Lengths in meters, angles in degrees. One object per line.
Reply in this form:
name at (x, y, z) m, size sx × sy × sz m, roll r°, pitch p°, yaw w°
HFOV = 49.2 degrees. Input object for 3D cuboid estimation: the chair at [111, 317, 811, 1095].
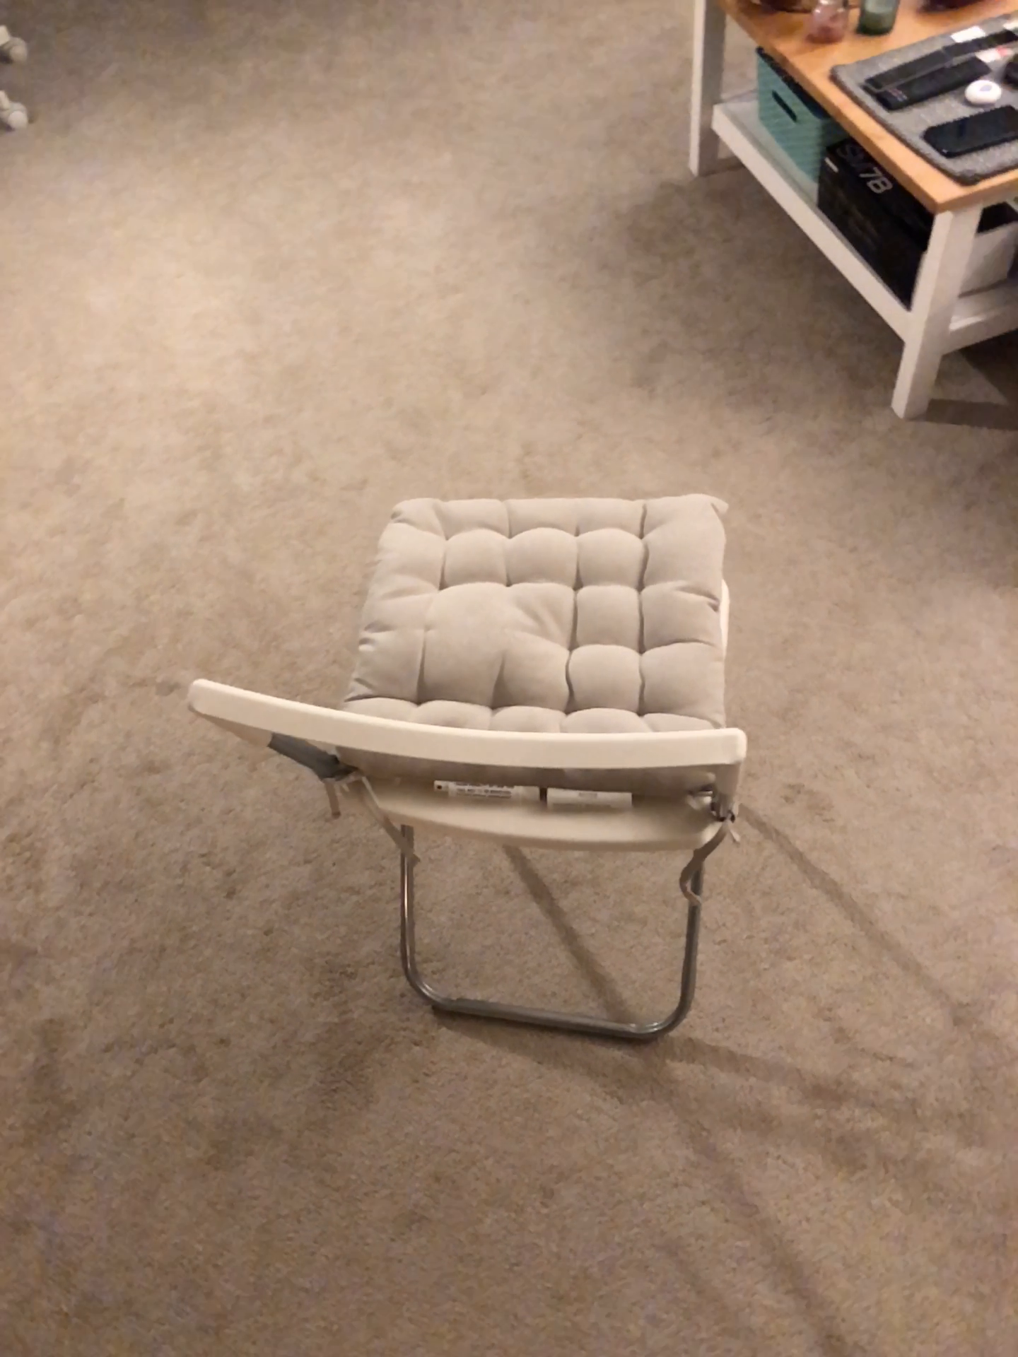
chair at (0.025, 0.059, 1.220) m, size 0.510 × 0.667 × 0.542 m, roll 4°, pitch 57°, yaw 10°
